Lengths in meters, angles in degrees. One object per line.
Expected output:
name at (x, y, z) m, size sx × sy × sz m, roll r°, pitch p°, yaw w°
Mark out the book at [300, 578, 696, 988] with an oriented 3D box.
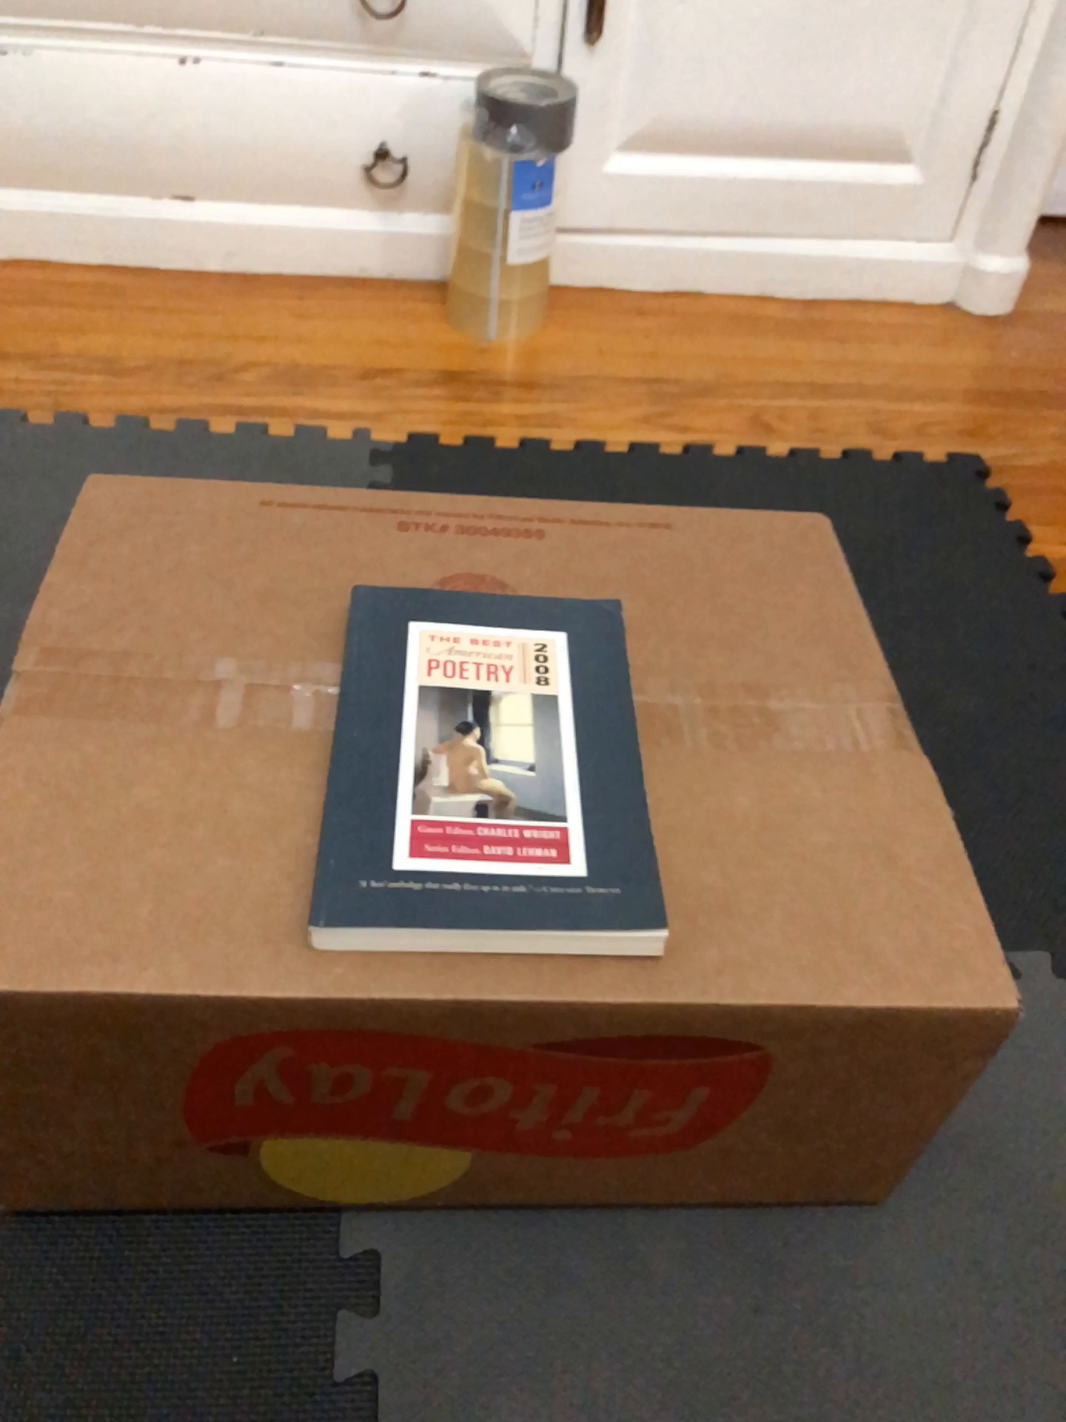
book at (-0.019, 0.021, 0.535) m, size 0.150 × 0.020 × 0.231 m, roll 2°, pitch 43°, yaw -6°
